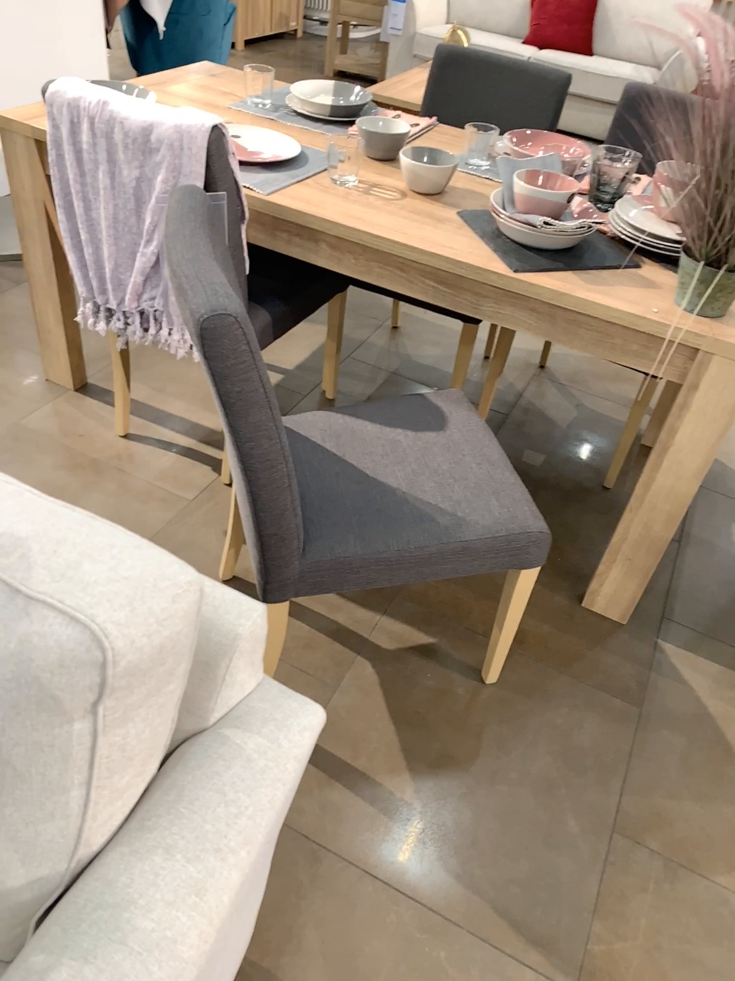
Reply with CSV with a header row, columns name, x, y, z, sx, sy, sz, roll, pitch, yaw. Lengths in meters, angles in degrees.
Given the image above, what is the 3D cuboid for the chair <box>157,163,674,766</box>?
name,x,y,z,sx,sy,sz,roll,pitch,yaw
chair,-0.023,-0.023,1.328,0.614,0.889,0.511,-4,42,-15
